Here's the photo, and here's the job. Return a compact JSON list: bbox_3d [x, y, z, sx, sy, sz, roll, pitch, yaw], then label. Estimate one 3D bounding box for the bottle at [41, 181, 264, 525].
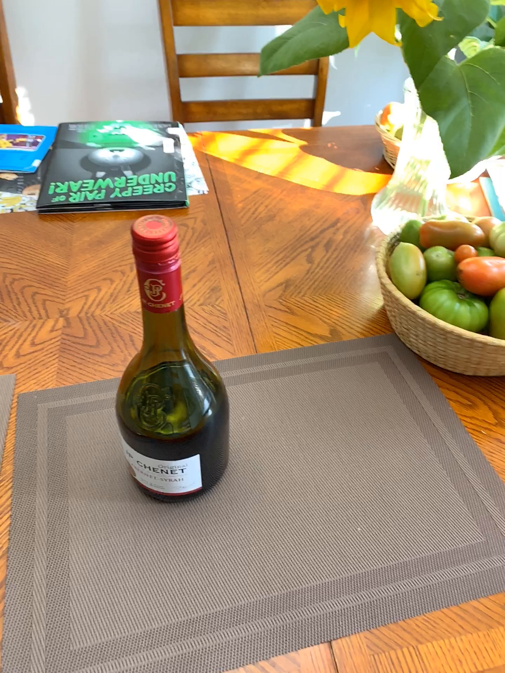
[{"bbox_3d":[-0.066,0.027,0.419,0.100,0.258,0.101,2,44,-2],"label":"bottle"}]
